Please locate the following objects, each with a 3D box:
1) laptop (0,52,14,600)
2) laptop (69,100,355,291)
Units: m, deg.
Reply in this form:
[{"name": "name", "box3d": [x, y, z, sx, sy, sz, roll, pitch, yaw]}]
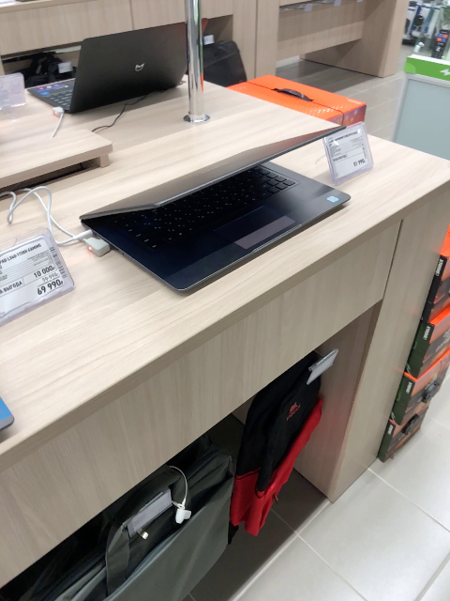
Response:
[{"name": "laptop", "box3d": [-0.451, -0.008, 0.374, 0.349, 0.230, 0.378, -30, 48, -35]}, {"name": "laptop", "box3d": [-0.008, -0.178, 0.729, 0.345, 0.099, 0.221, -31, 49, -33]}]
